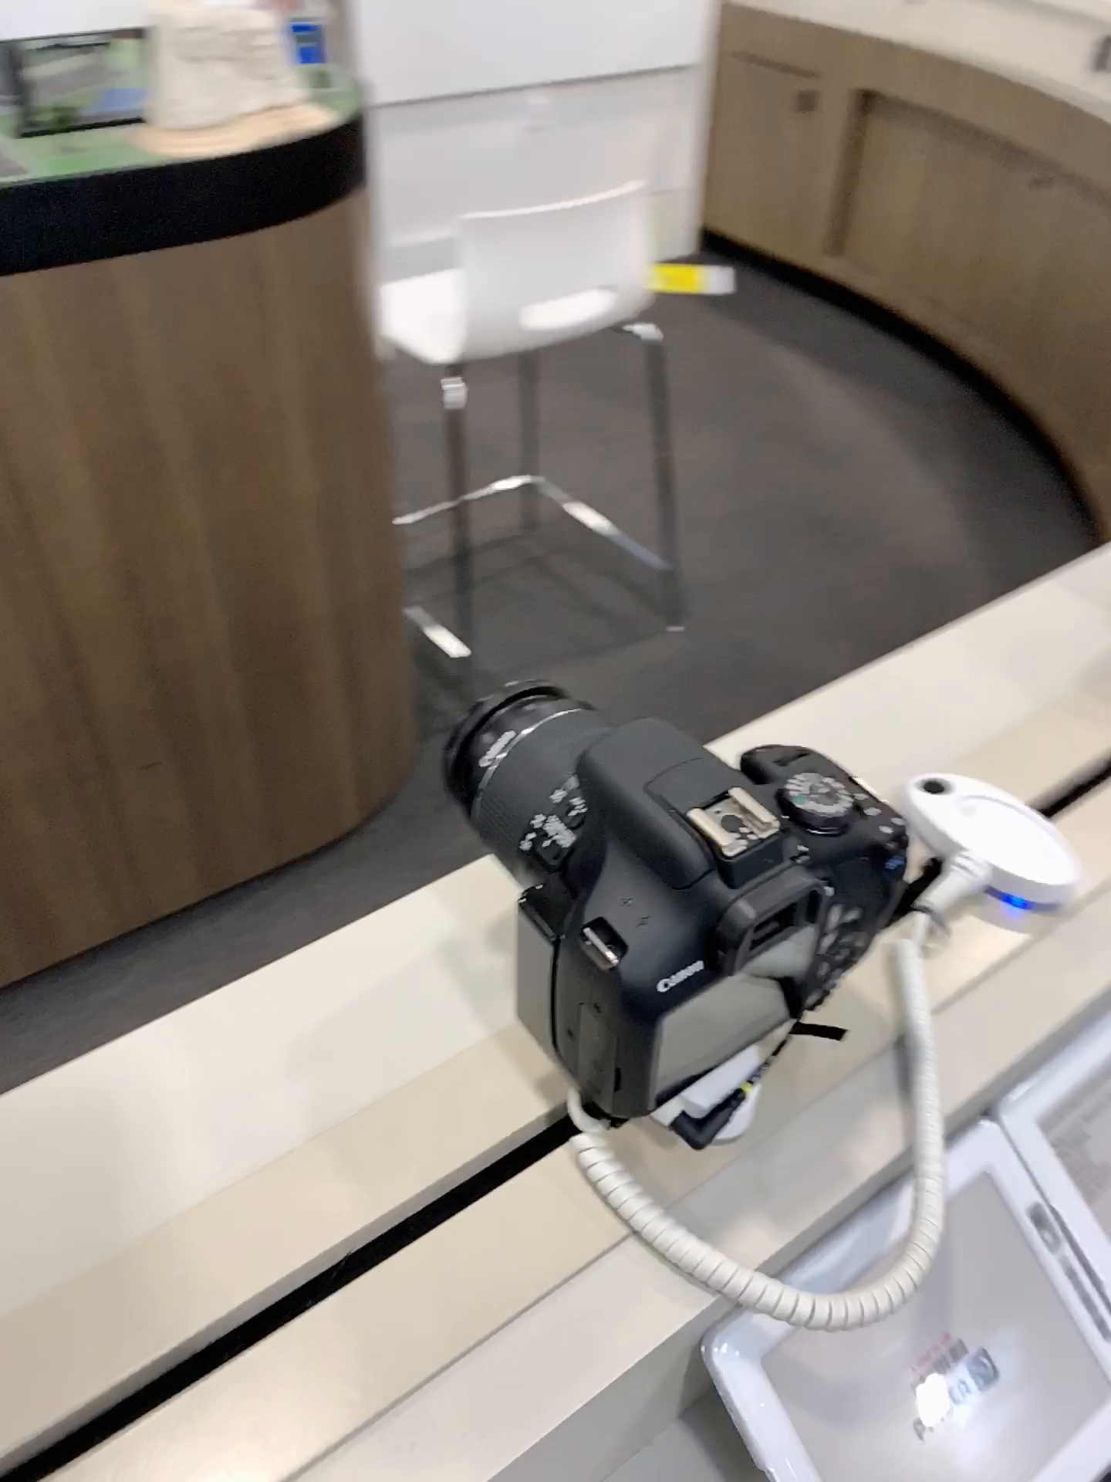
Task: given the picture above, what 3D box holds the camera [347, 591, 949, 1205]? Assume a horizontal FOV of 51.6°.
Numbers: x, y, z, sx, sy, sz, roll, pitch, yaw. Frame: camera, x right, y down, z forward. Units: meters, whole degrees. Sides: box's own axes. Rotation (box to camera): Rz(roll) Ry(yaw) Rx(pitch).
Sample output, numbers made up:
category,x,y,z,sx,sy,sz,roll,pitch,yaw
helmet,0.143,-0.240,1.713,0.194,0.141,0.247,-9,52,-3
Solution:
category,x,y,z,sx,sy,sz,roll,pitch,yaw
camera,0.025,0.044,0.406,0.134,0.101,0.146,-24,47,-26
